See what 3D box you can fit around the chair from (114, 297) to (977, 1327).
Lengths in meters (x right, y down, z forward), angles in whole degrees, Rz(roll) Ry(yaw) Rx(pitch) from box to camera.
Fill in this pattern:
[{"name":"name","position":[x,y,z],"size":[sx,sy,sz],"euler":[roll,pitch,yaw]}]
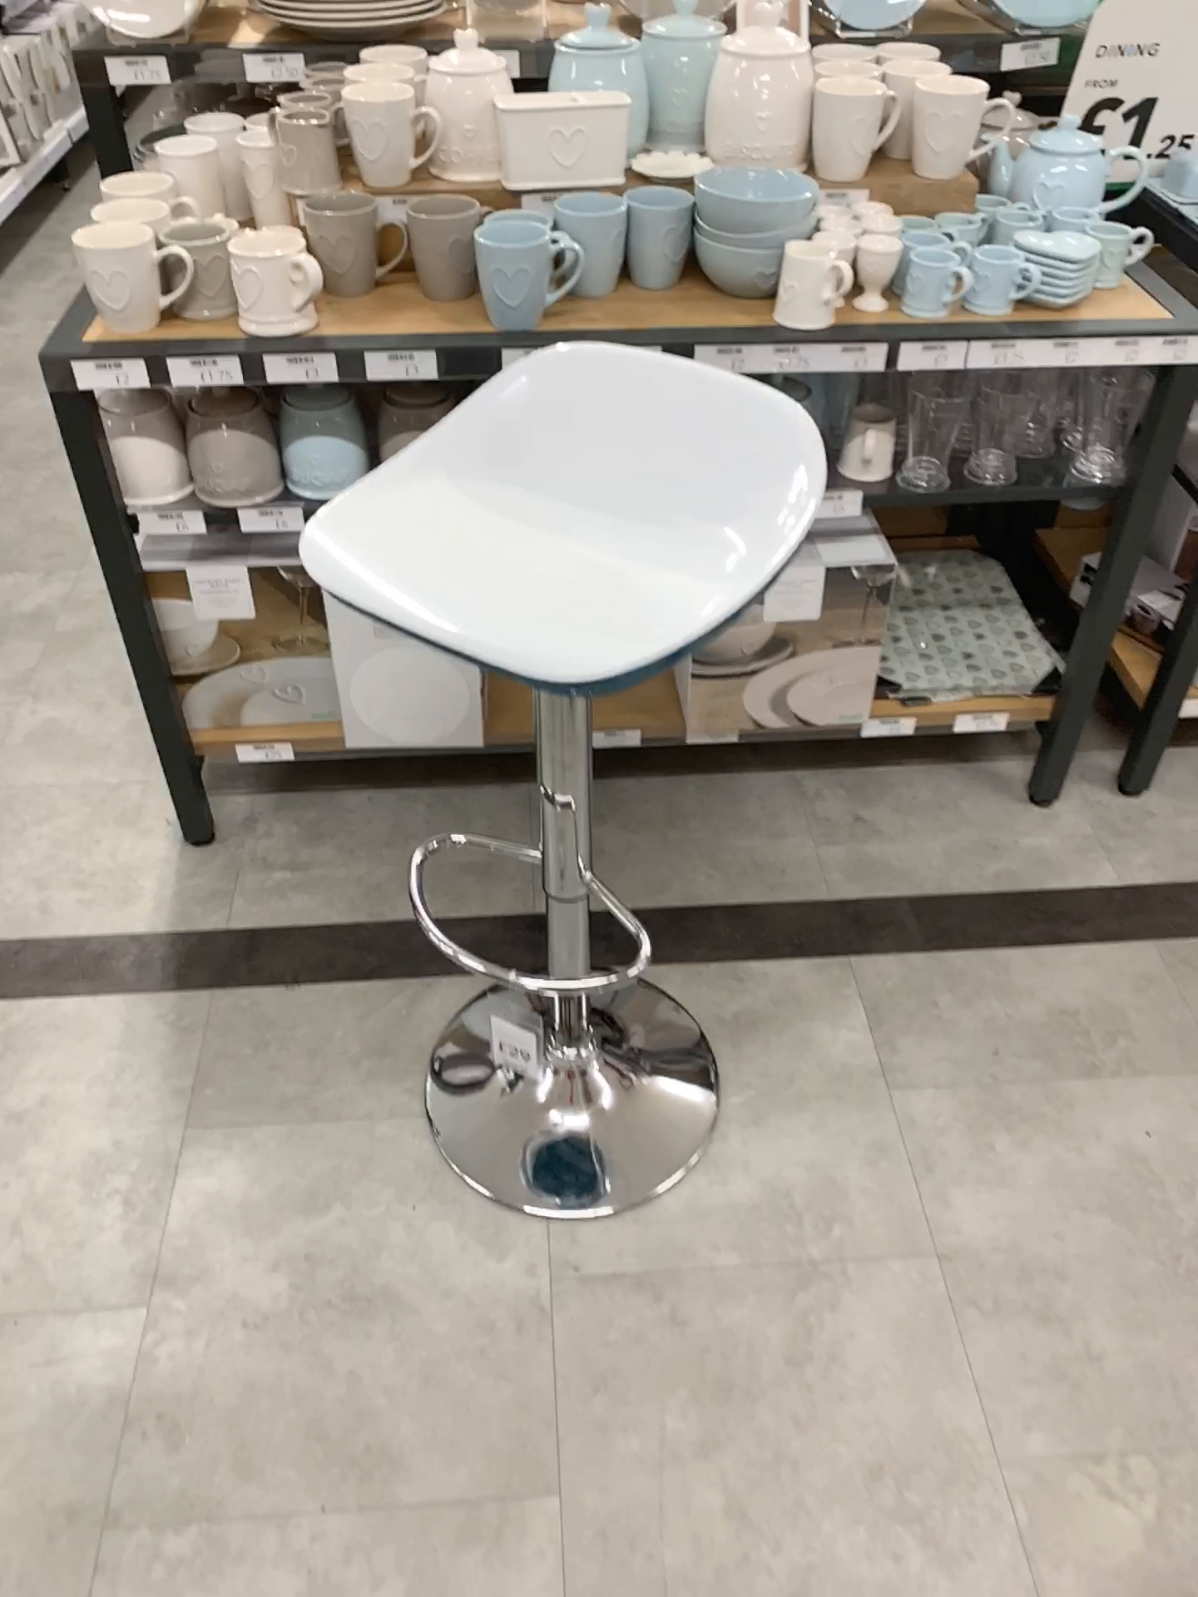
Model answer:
[{"name":"chair","position":[-0.027,0.016,1.218],"size":[0.504,0.775,0.472],"euler":[23,46,23]}]
